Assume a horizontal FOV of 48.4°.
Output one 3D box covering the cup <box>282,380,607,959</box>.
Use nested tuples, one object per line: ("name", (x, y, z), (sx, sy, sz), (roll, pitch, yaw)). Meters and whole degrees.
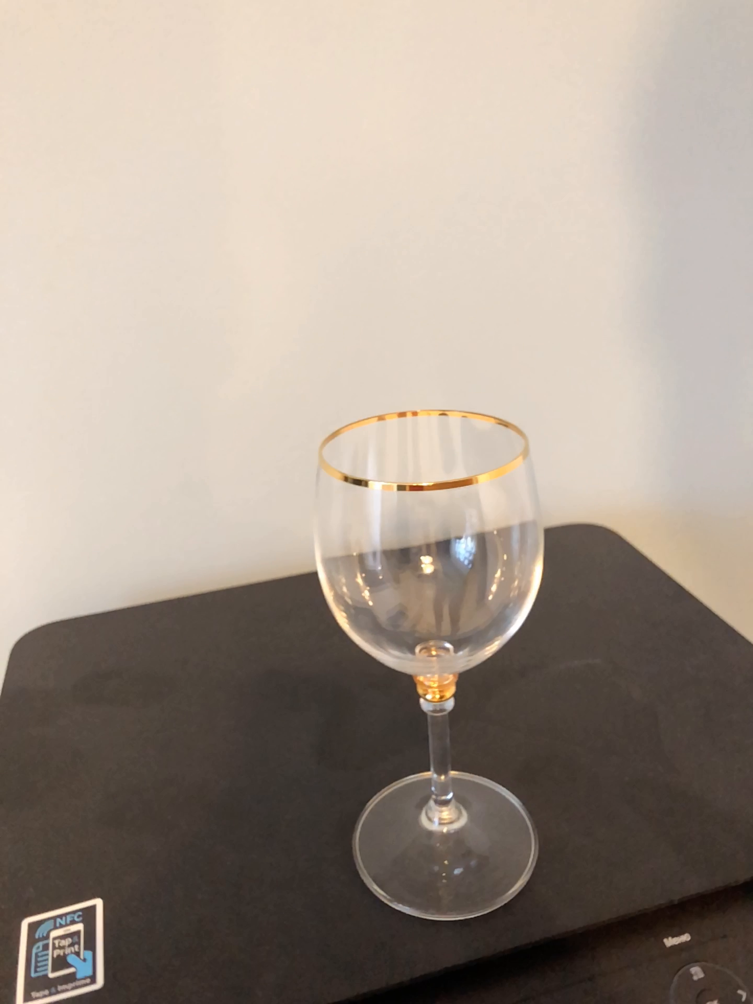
("cup", (0.023, 0.057, 0.308), (0.086, 0.177, 0.087), (-4, 22, 2))
